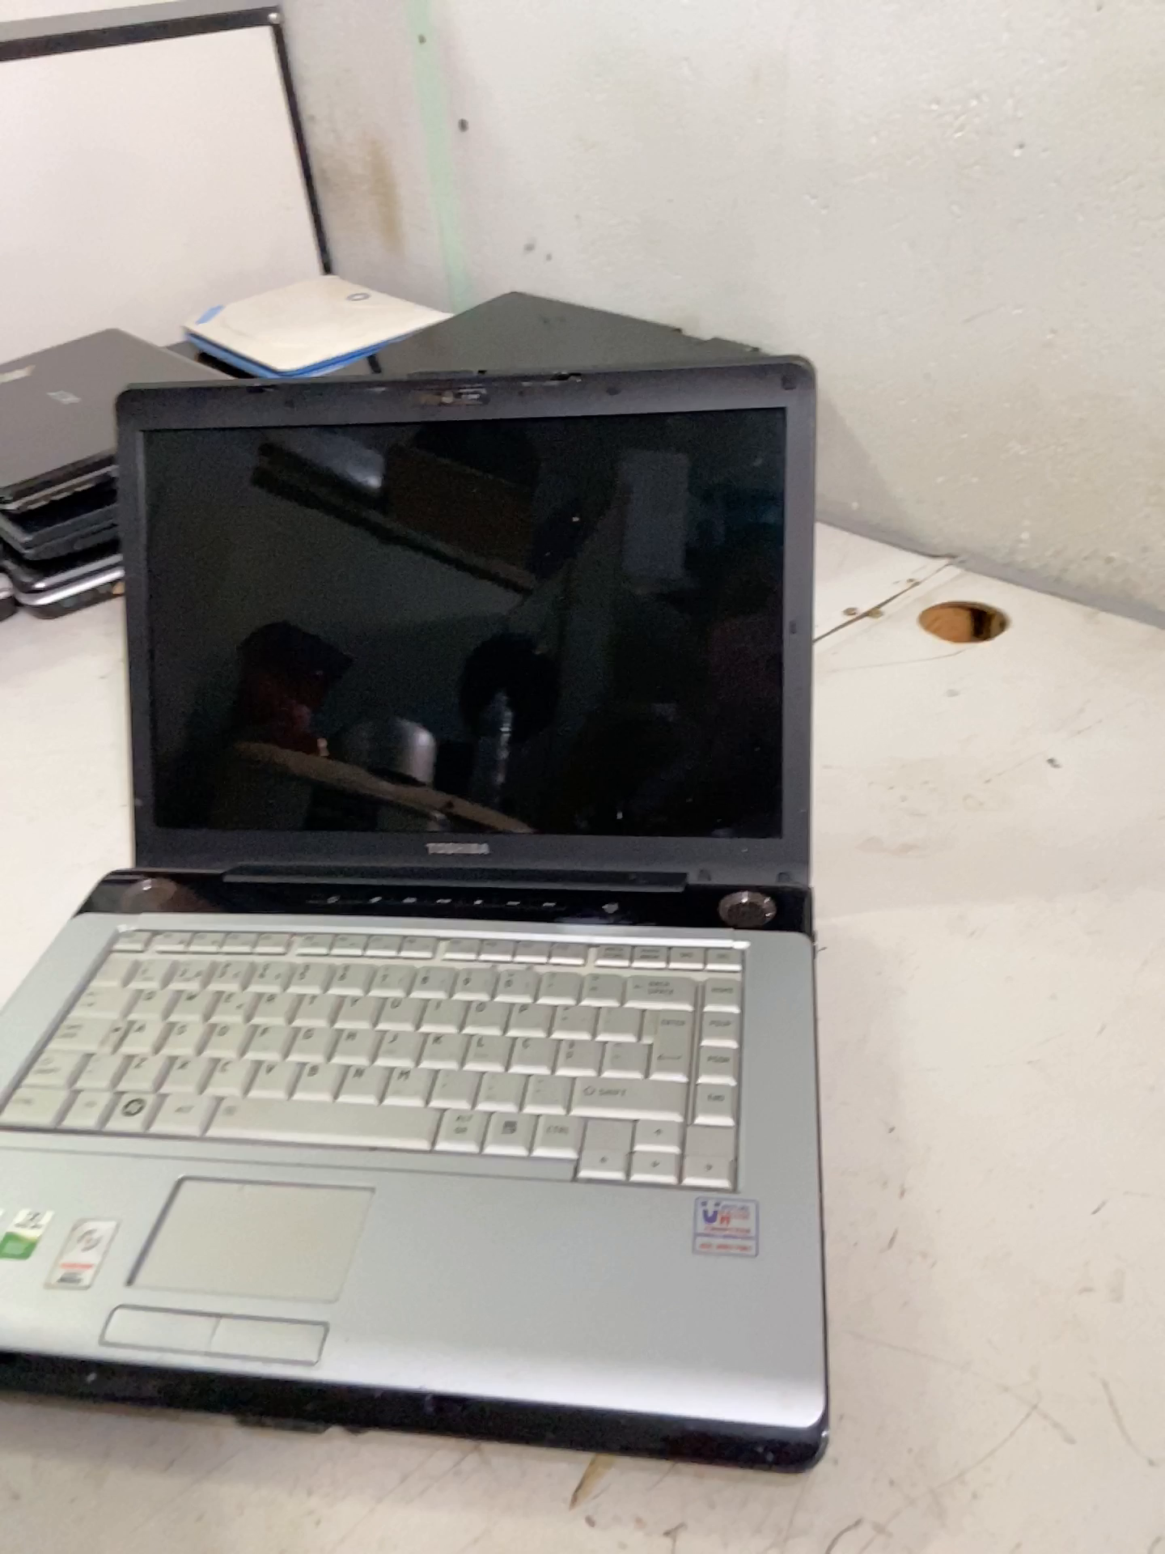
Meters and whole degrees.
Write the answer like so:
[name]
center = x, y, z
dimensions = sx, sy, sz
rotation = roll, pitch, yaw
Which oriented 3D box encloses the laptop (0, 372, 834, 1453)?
[laptop]
center = -0.087, 0.003, 0.483
dimensions = 0.350, 0.200, 0.395
rotation = 1, 35, 9
